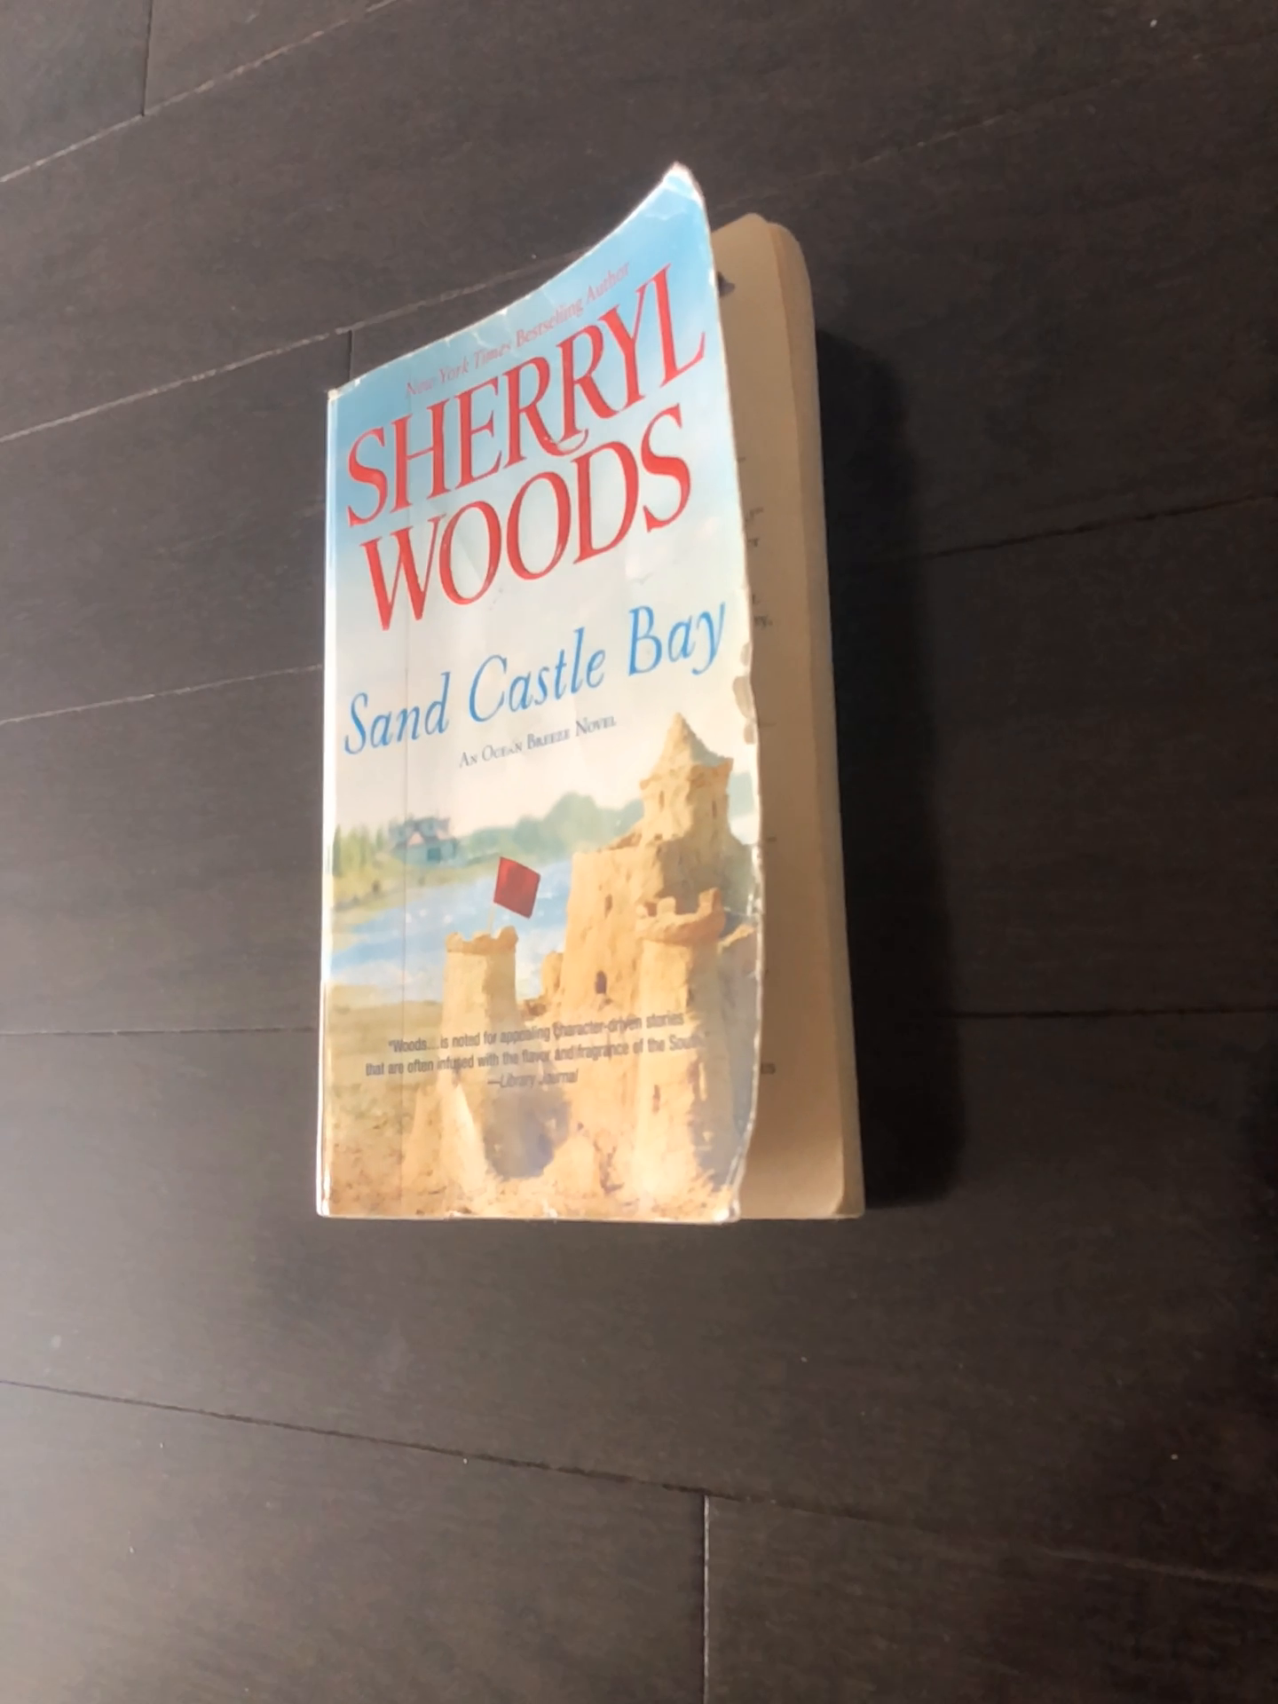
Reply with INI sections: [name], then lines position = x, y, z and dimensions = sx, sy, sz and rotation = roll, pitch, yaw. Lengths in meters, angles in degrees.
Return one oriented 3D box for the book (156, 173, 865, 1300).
[book]
position = -0.028, -0.013, 0.246
dimensions = 0.120, 0.037, 0.161
rotation = -7, 81, 32
